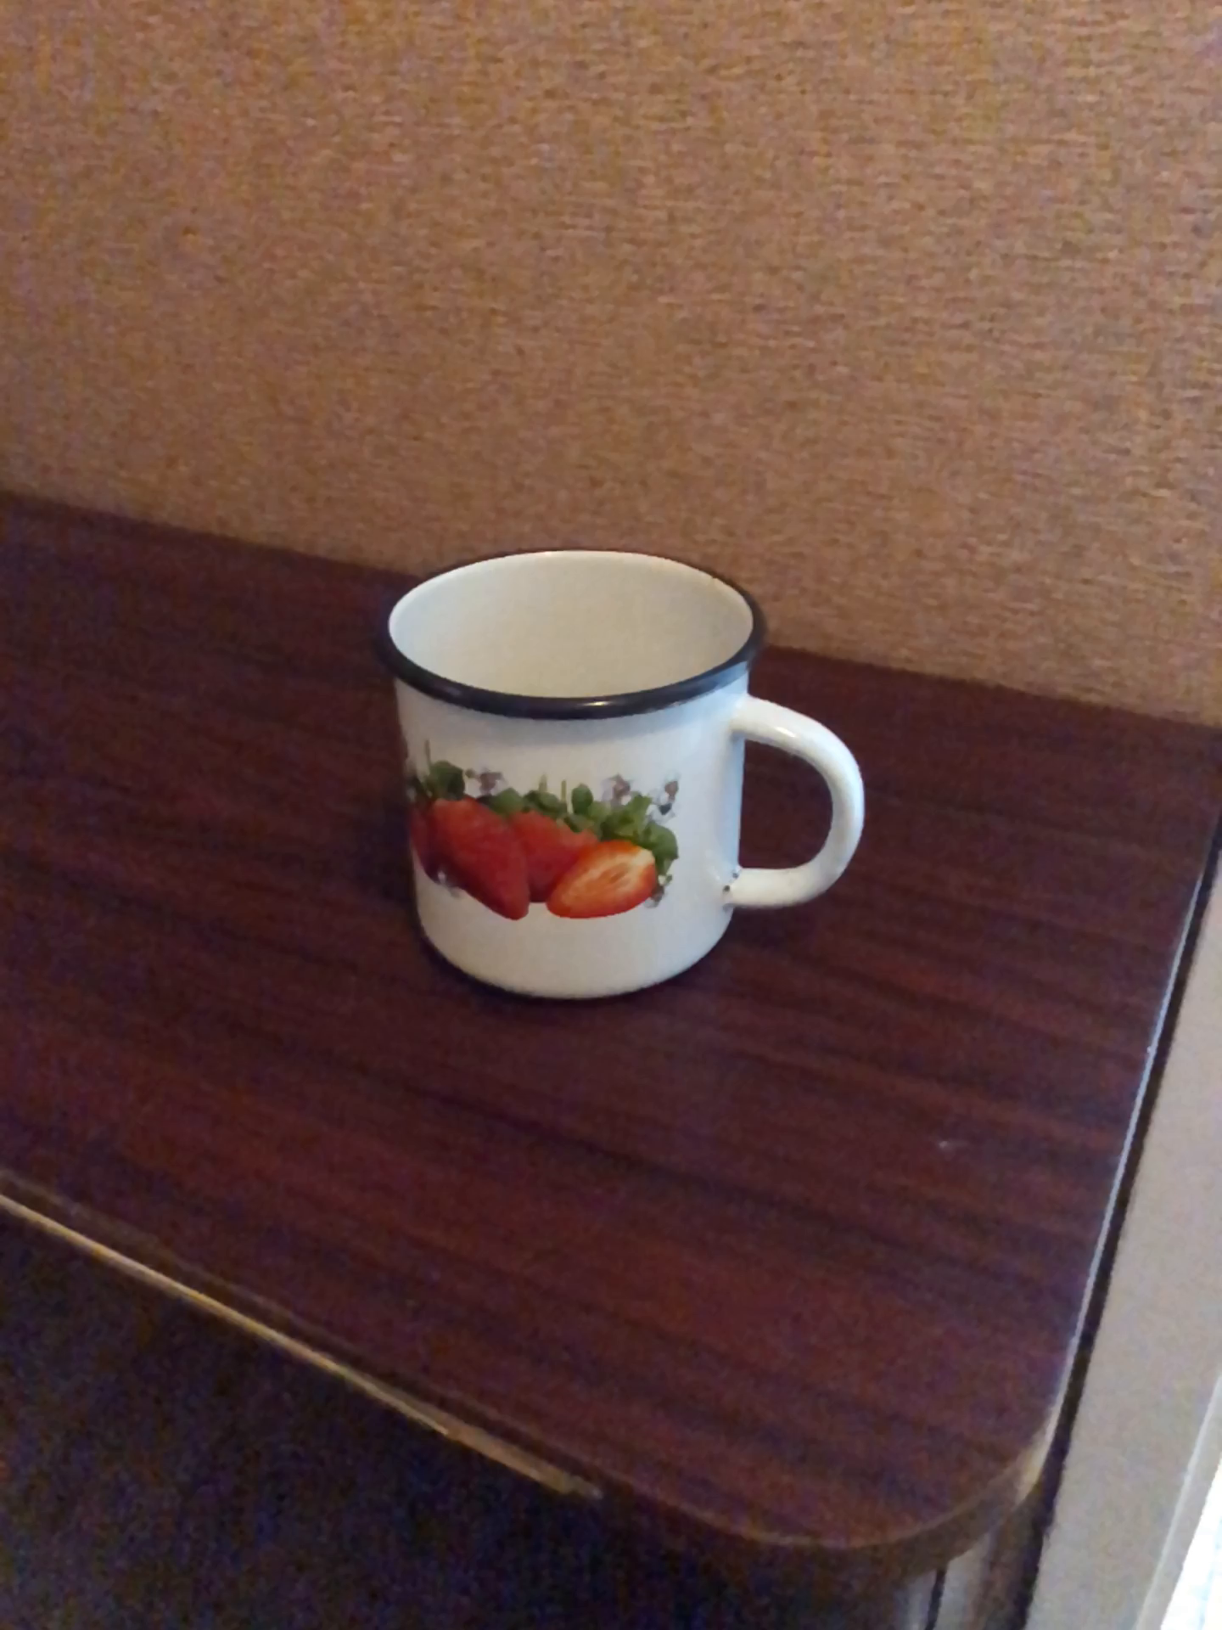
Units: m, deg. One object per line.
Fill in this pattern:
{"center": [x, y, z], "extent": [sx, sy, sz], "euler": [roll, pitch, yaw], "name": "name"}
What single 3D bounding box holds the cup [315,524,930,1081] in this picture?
{"center": [0.008, -0.014, 0.441], "extent": [0.155, 0.113, 0.119], "euler": [12, 32, 21], "name": "cup"}
